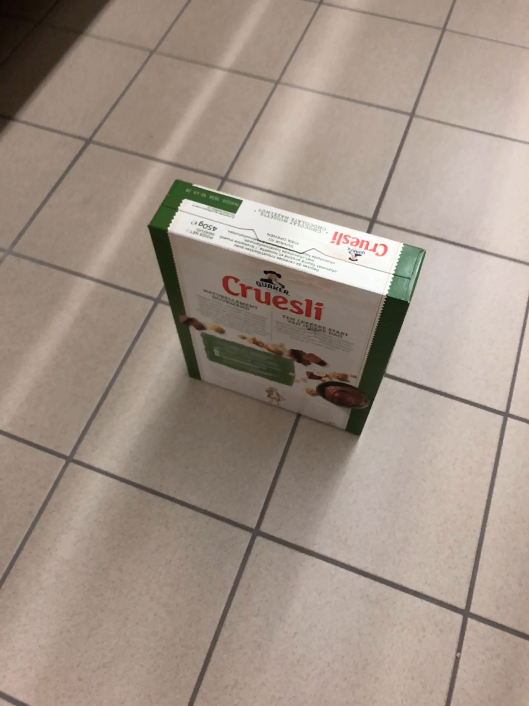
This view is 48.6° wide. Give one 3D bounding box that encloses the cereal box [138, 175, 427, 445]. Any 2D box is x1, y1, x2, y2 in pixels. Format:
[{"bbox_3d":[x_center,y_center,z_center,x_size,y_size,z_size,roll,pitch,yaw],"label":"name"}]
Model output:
[{"bbox_3d":[0.012,-0.020,0.510,0.190,0.239,0.060,19,64,10],"label":"cereal box"}]
